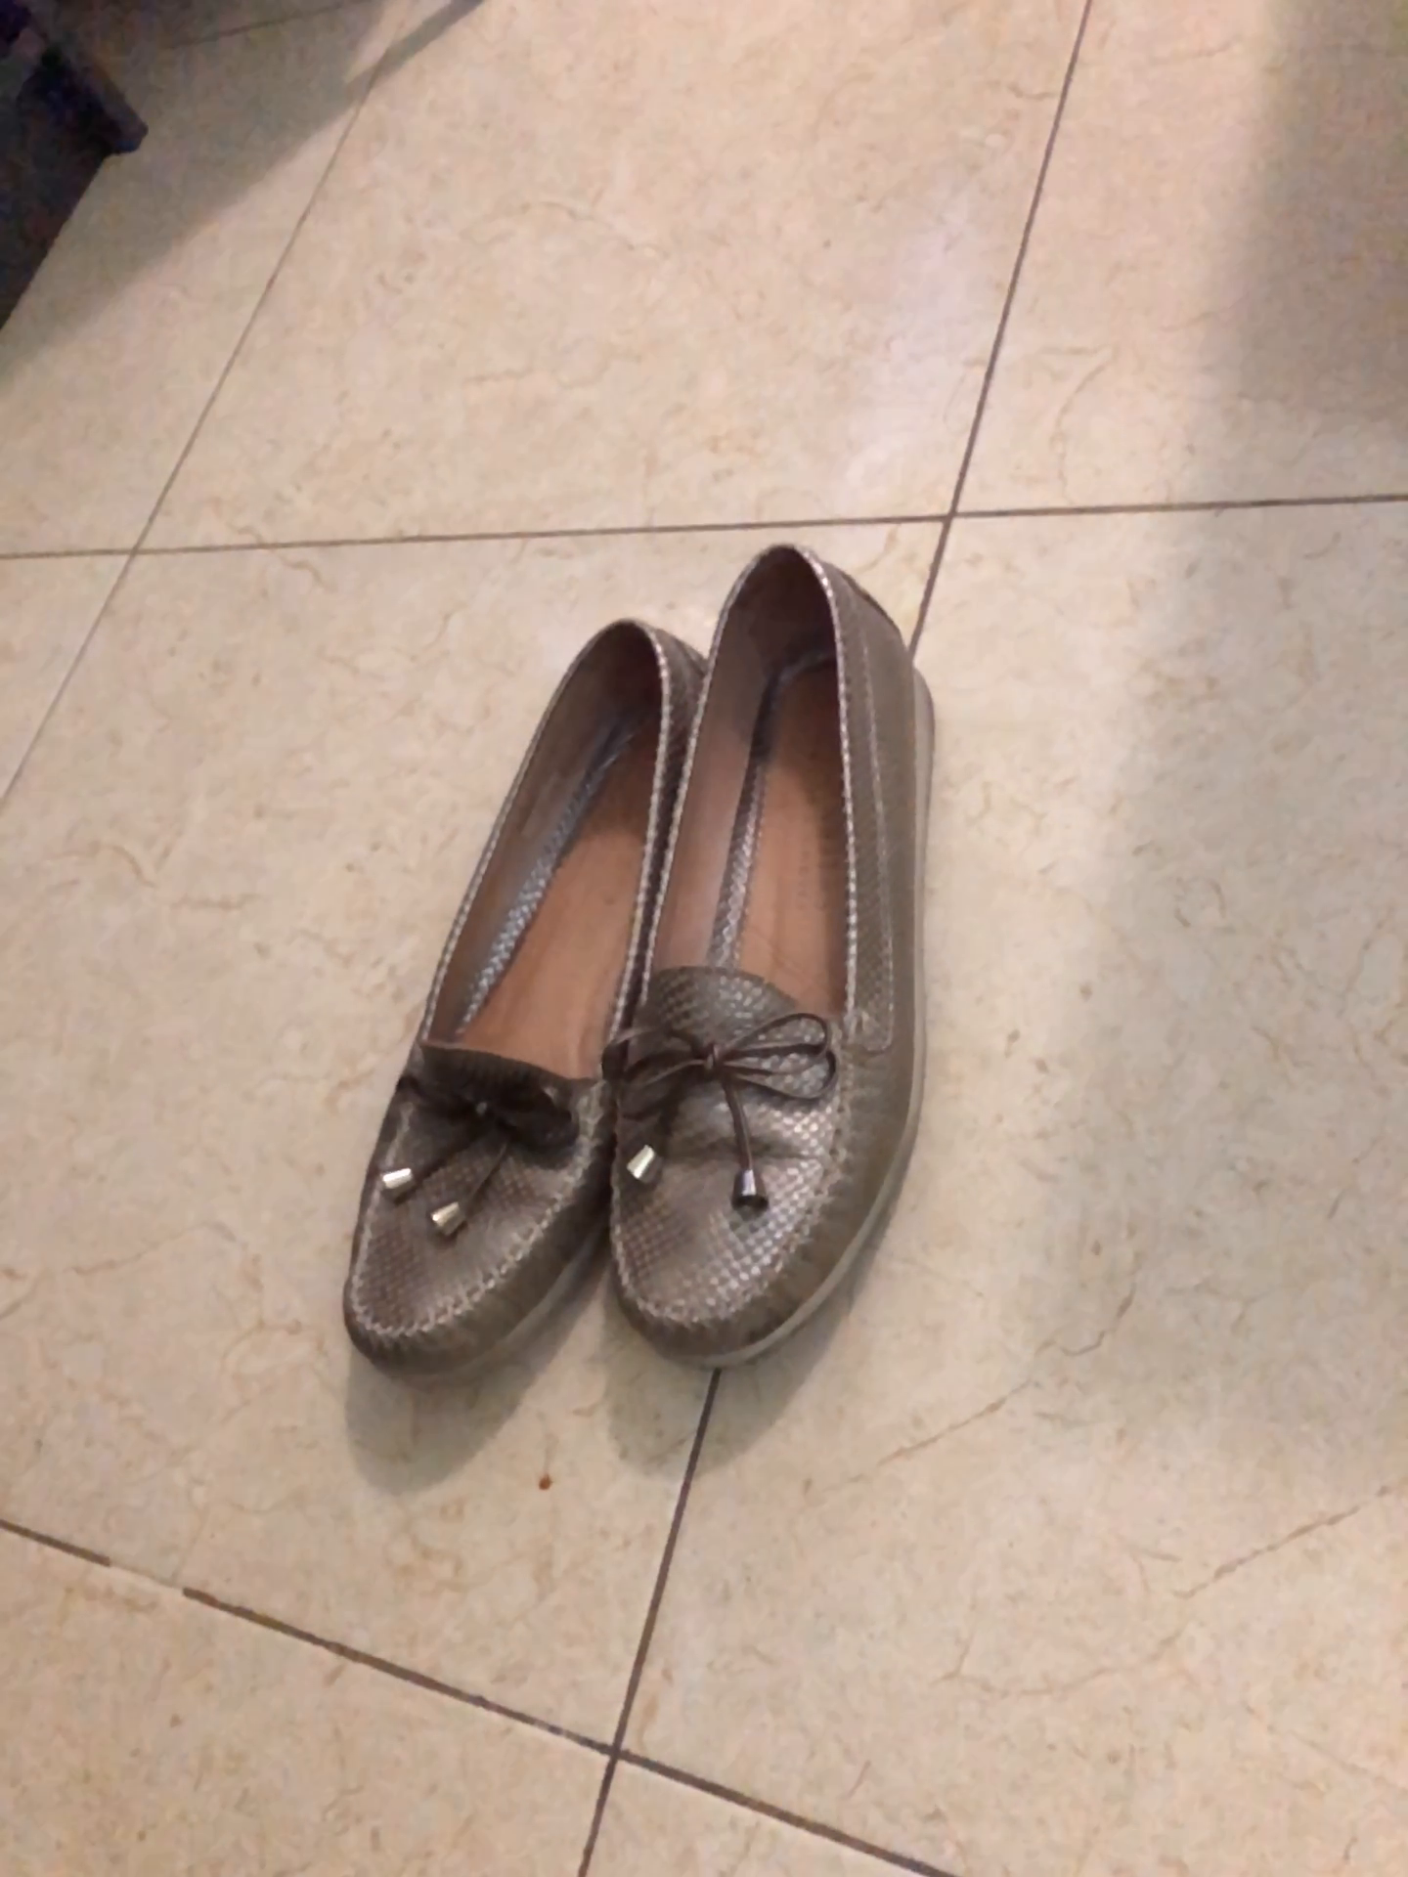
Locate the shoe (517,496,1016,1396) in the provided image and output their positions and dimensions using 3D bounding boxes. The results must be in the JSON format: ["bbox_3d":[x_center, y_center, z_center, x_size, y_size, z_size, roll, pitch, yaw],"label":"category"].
[{"bbox_3d":[0.031,-0.004,0.501,0.100,0.080,0.270,-2,62,24],"label":"shoe"}]

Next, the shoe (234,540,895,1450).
[{"bbox_3d":[-0.037,0.008,0.546,0.100,0.080,0.300,11,68,29],"label":"shoe"}]
